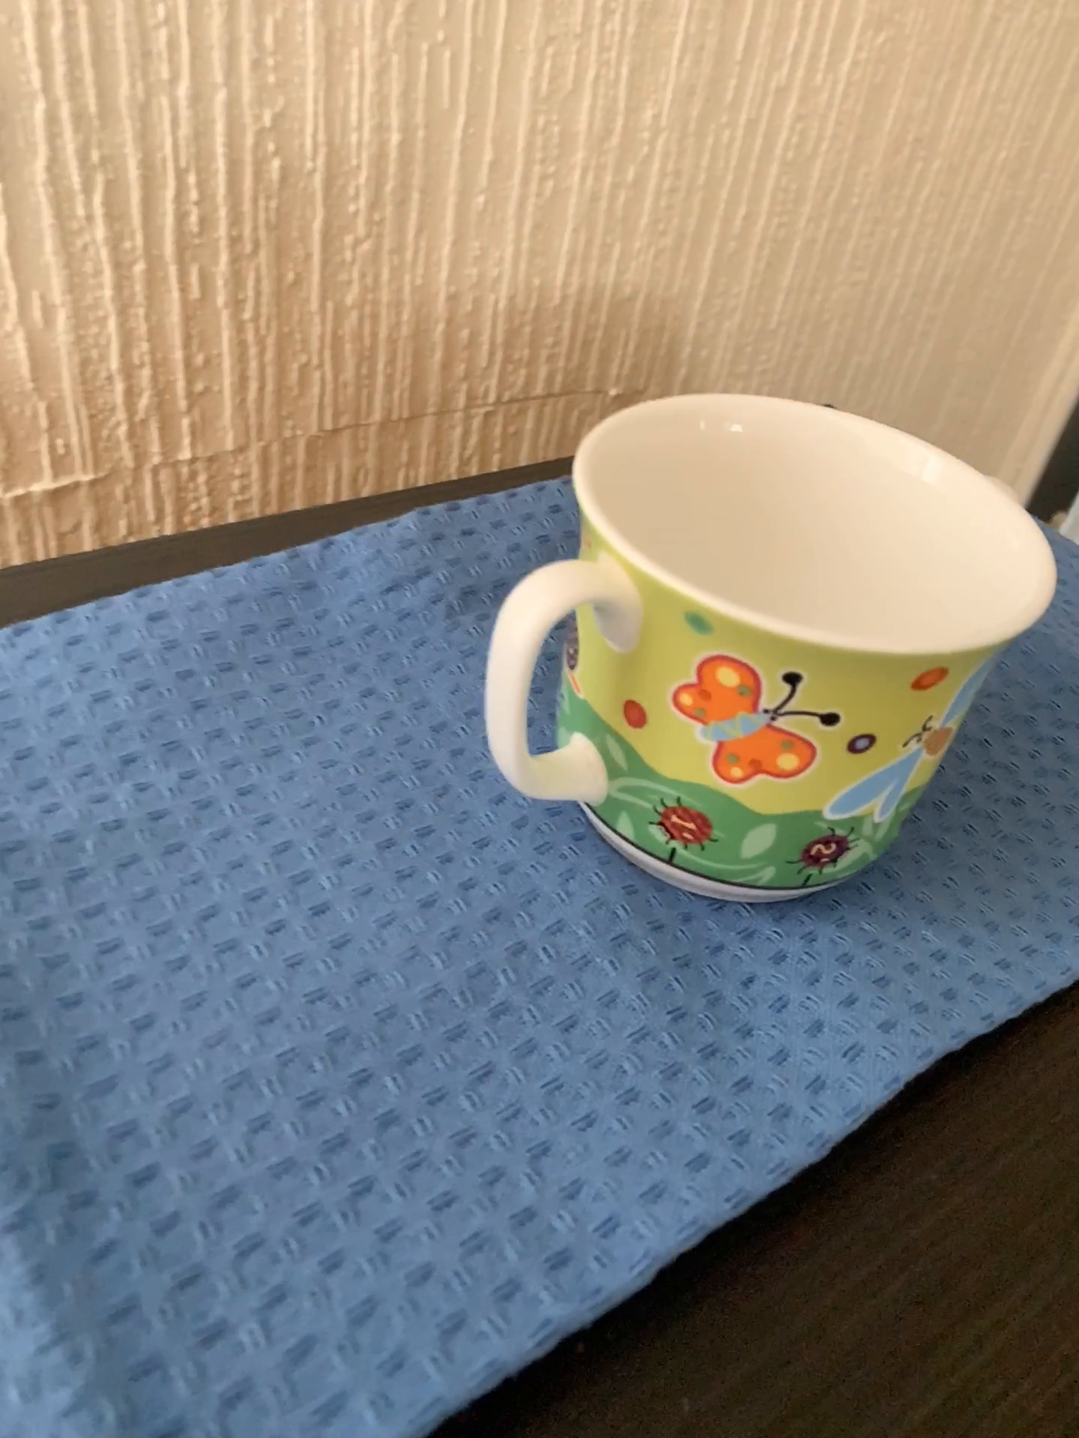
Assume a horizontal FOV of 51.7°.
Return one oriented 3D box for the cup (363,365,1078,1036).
[{"bbox_3d":[0.039,-0.013,0.220,0.120,0.069,0.080,-18,48,-30],"label":"cup"}]
